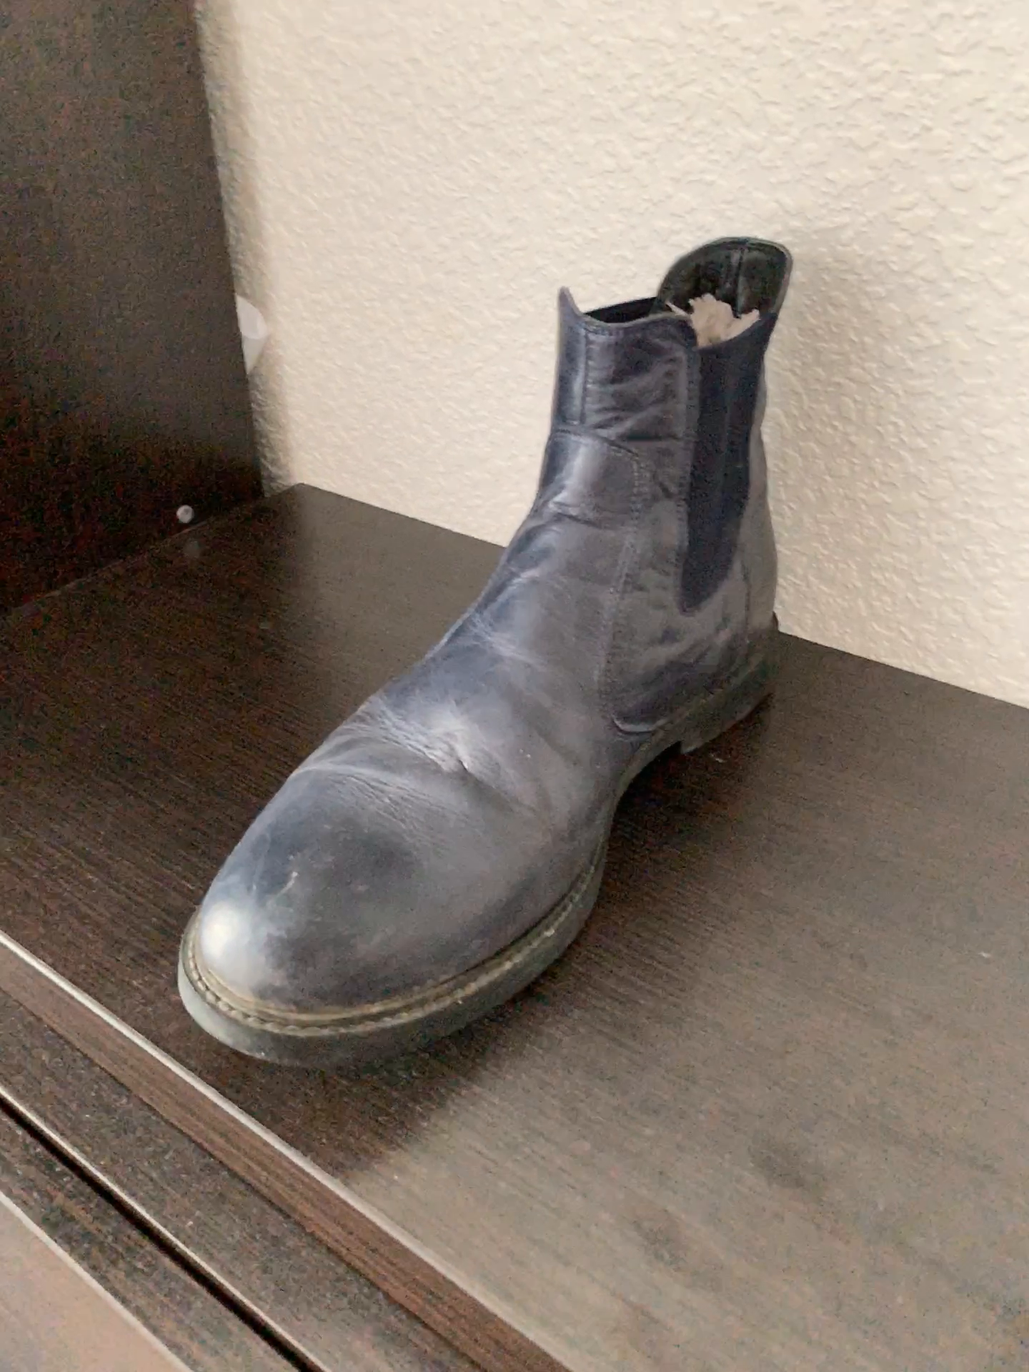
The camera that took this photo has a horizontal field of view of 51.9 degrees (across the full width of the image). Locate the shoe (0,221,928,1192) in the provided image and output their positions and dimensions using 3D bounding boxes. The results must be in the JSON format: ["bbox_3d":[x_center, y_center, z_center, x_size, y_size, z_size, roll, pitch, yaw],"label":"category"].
[{"bbox_3d":[0.010,-0.032,0.337,0.110,0.159,0.301,22,40,30],"label":"shoe"}]
